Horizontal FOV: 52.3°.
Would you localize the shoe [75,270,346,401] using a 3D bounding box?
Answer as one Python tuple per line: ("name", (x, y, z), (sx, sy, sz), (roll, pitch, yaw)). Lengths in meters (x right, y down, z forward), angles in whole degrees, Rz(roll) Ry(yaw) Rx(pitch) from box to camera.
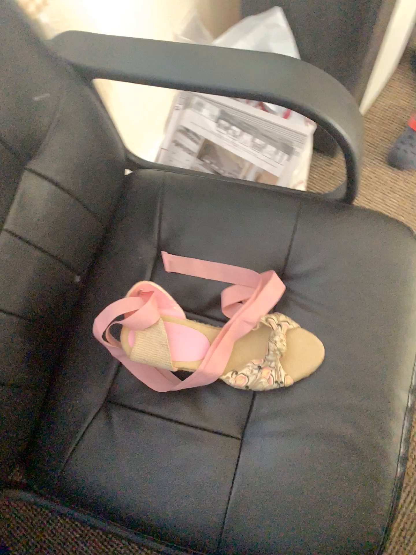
("shoe", (0.009, 0.074, 0.504), (0.270, 0.140, 0.100), (6, 72, 8))
